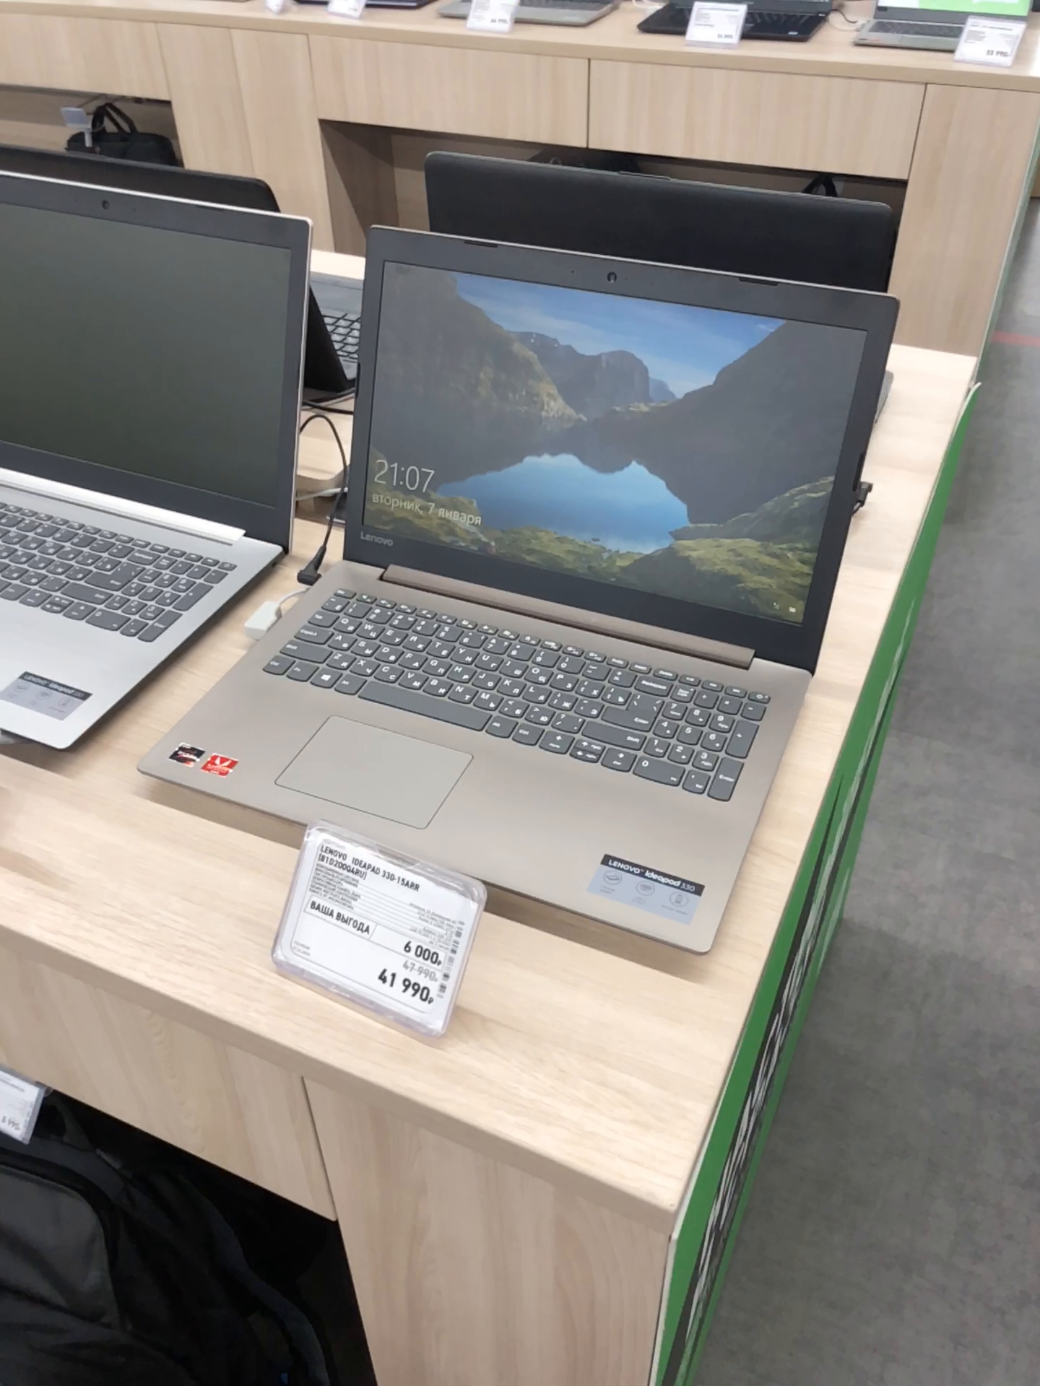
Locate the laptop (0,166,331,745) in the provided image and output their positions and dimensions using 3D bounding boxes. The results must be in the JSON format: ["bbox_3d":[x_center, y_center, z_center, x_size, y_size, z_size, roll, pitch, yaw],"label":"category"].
[{"bbox_3d":[-0.371,-0.193,0.804,0.343,0.207,0.324,15,43,18],"label":"laptop"}]

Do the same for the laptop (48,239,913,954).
[{"bbox_3d":[0.001,-0.090,0.676,0.351,0.209,0.330,15,43,20],"label":"laptop"}]
